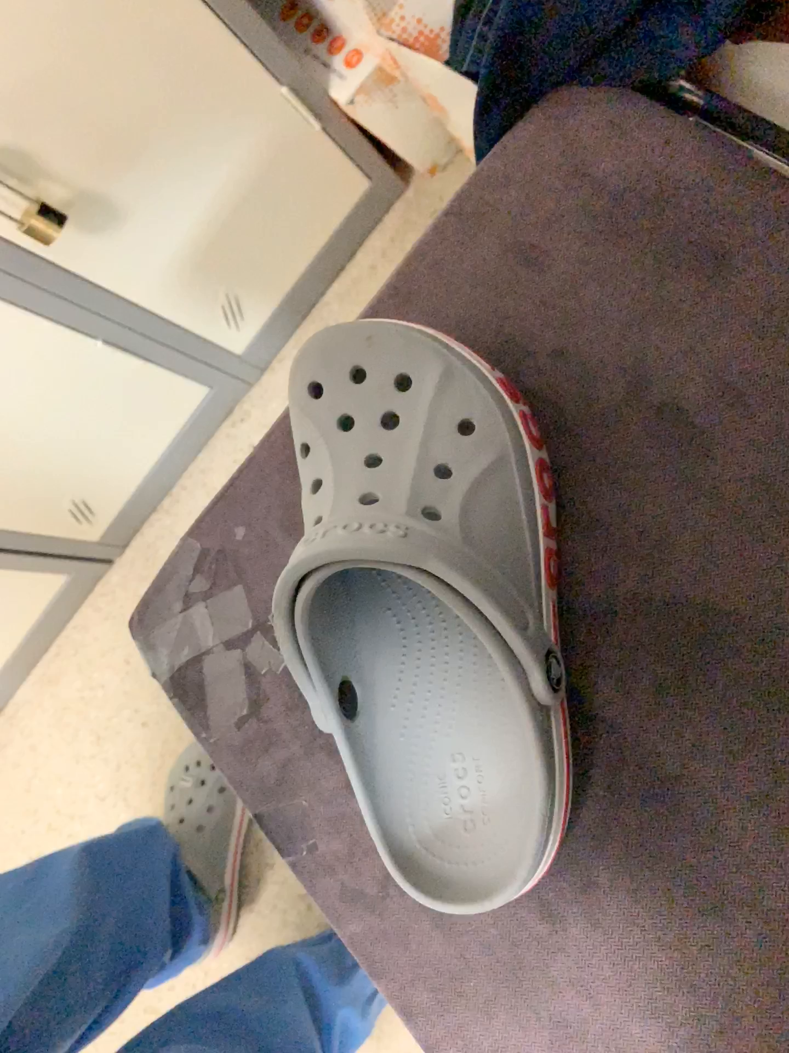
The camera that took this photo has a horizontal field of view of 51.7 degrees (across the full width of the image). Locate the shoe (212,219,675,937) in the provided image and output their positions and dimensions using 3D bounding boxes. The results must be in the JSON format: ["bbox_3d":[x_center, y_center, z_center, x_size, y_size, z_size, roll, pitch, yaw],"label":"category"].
[{"bbox_3d":[0.015,0.021,0.329,0.119,0.075,0.239,-18,75,23],"label":"shoe"}]
